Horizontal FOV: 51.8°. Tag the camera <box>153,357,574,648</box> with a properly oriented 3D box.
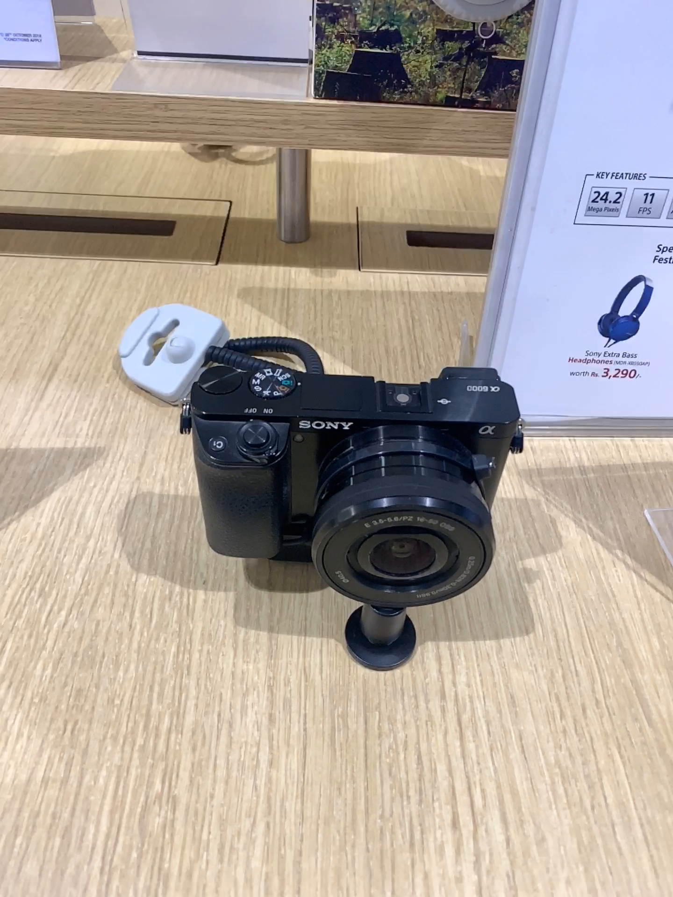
[{"bbox_3d":[0.006,0.023,0.270,0.130,0.090,0.070,1,45,-3],"label":"camera"}]
